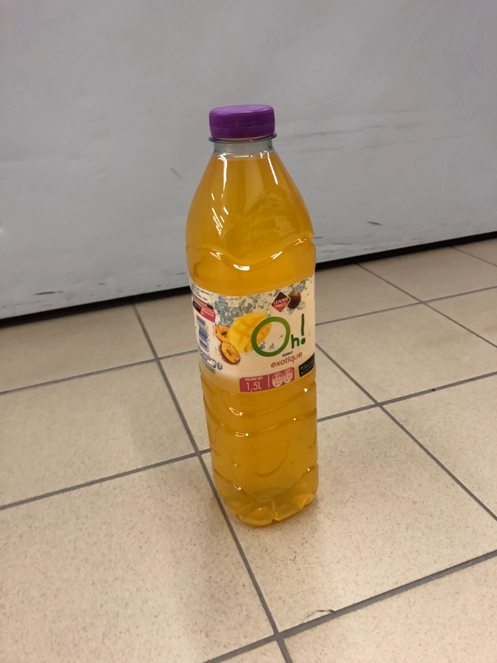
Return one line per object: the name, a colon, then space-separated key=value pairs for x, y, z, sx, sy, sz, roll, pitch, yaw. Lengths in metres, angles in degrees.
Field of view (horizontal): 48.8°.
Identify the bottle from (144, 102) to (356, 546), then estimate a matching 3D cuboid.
bottle: x=0.006 y=-0.003 z=0.403 sx=0.100 sy=0.298 sz=0.090 roll=-16 pitch=28 yaw=-25
